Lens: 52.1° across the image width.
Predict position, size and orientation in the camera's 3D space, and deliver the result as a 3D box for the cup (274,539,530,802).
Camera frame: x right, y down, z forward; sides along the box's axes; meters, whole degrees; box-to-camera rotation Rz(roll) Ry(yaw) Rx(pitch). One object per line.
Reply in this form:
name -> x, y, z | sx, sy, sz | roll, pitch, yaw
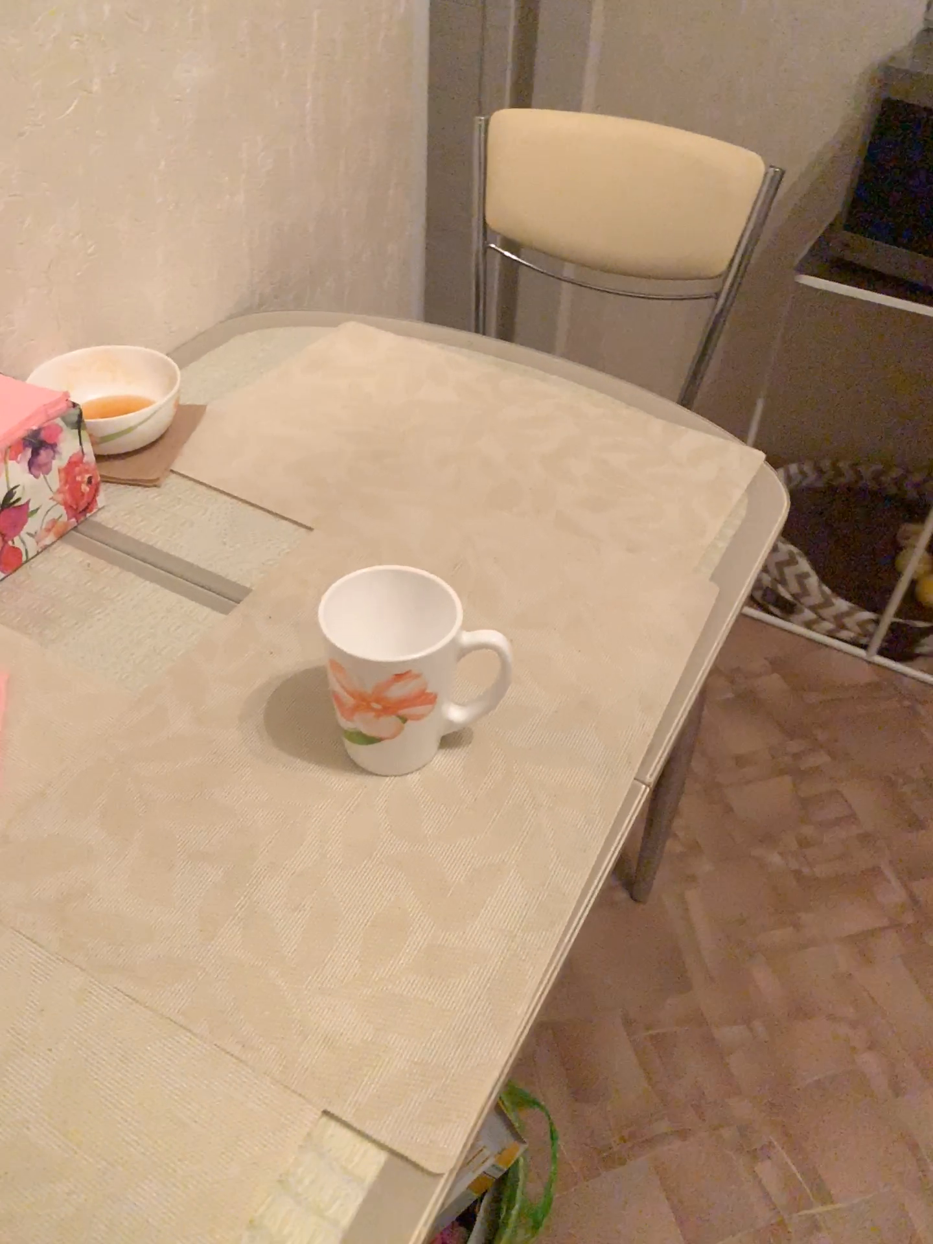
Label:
cup -> -0.033, 0.027, 0.544 | 0.120, 0.099, 0.091 | 8, 43, 6
